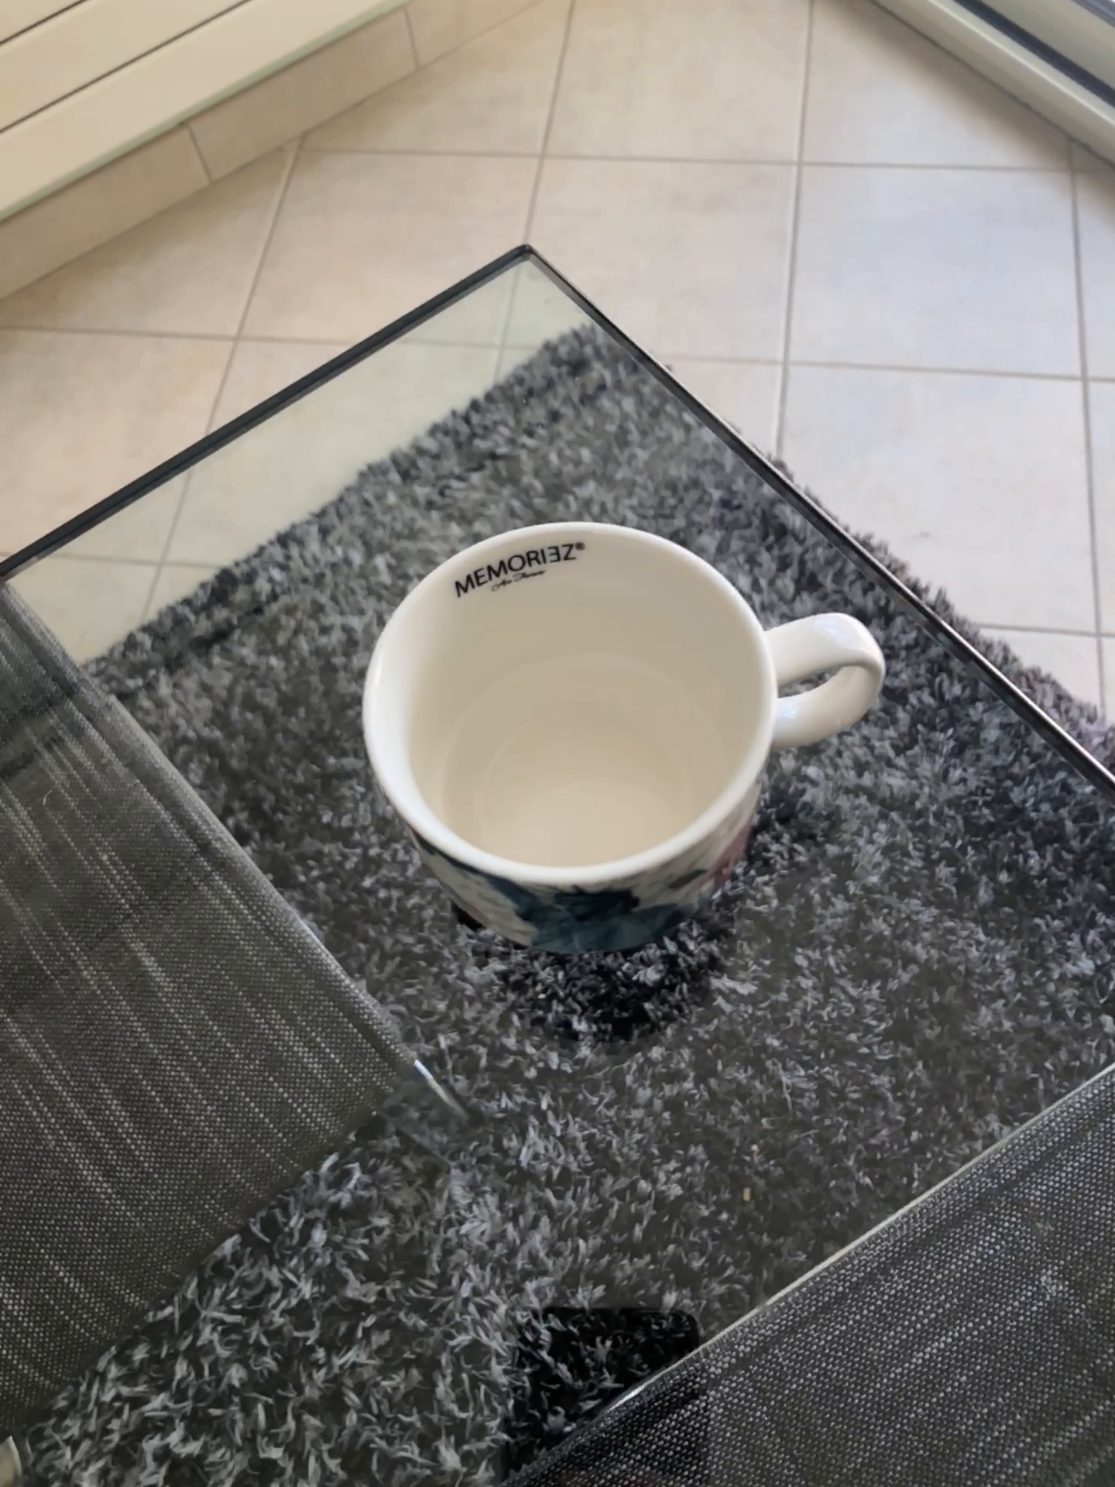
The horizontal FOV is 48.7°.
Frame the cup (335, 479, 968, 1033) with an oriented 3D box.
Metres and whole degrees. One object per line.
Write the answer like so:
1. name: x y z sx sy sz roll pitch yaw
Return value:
1. cup: 0.013 0.004 0.221 0.090 0.050 0.070 -10 64 0
